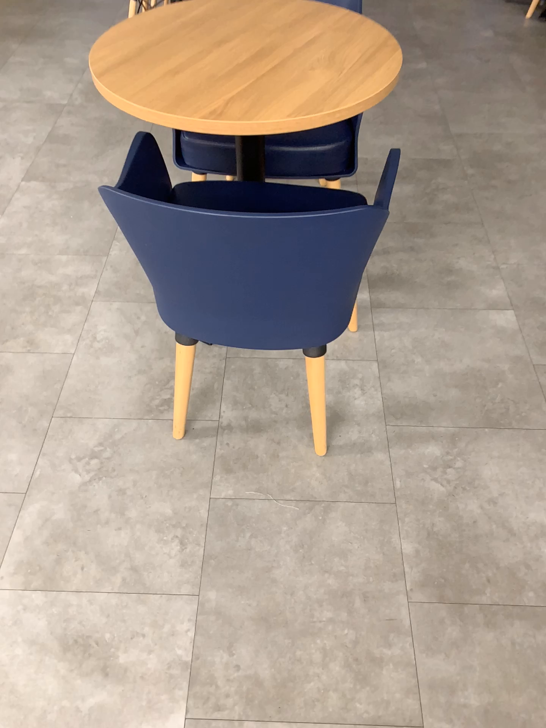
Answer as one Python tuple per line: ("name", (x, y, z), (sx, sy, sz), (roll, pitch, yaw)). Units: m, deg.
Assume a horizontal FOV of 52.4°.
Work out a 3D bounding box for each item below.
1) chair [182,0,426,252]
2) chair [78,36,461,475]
("chair", (0.085, -0.832, 1.739), (0.562, 0.735, 0.561), (2, 50, 2))
("chair", (0.034, -0.215, 1.256), (0.562, 0.735, 0.551), (8, 51, 7))
